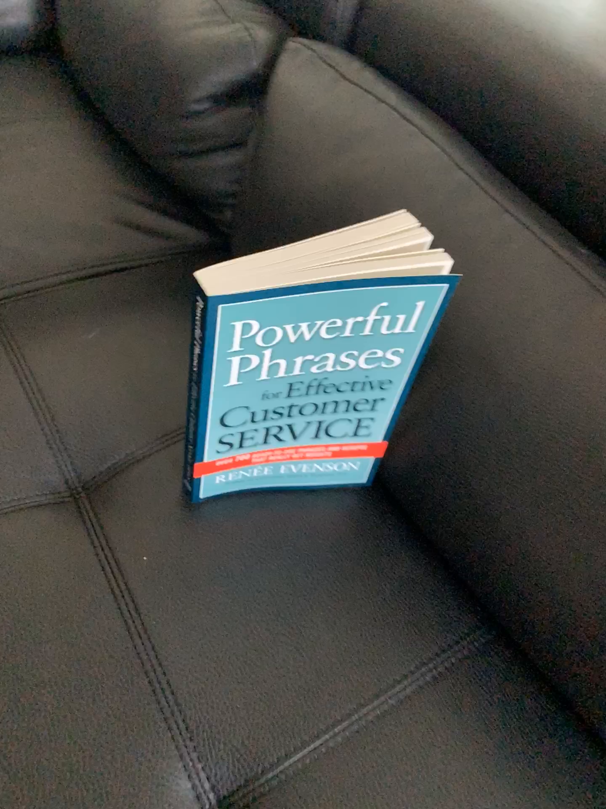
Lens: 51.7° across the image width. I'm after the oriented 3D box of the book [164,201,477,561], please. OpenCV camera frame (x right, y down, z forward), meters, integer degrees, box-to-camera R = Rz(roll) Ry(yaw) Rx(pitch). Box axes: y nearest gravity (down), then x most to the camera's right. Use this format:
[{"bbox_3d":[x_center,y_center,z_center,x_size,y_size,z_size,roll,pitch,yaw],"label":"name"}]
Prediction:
[{"bbox_3d":[-0.005,-0.004,0.453,0.162,0.246,0.082,-18,57,-23],"label":"book"}]
